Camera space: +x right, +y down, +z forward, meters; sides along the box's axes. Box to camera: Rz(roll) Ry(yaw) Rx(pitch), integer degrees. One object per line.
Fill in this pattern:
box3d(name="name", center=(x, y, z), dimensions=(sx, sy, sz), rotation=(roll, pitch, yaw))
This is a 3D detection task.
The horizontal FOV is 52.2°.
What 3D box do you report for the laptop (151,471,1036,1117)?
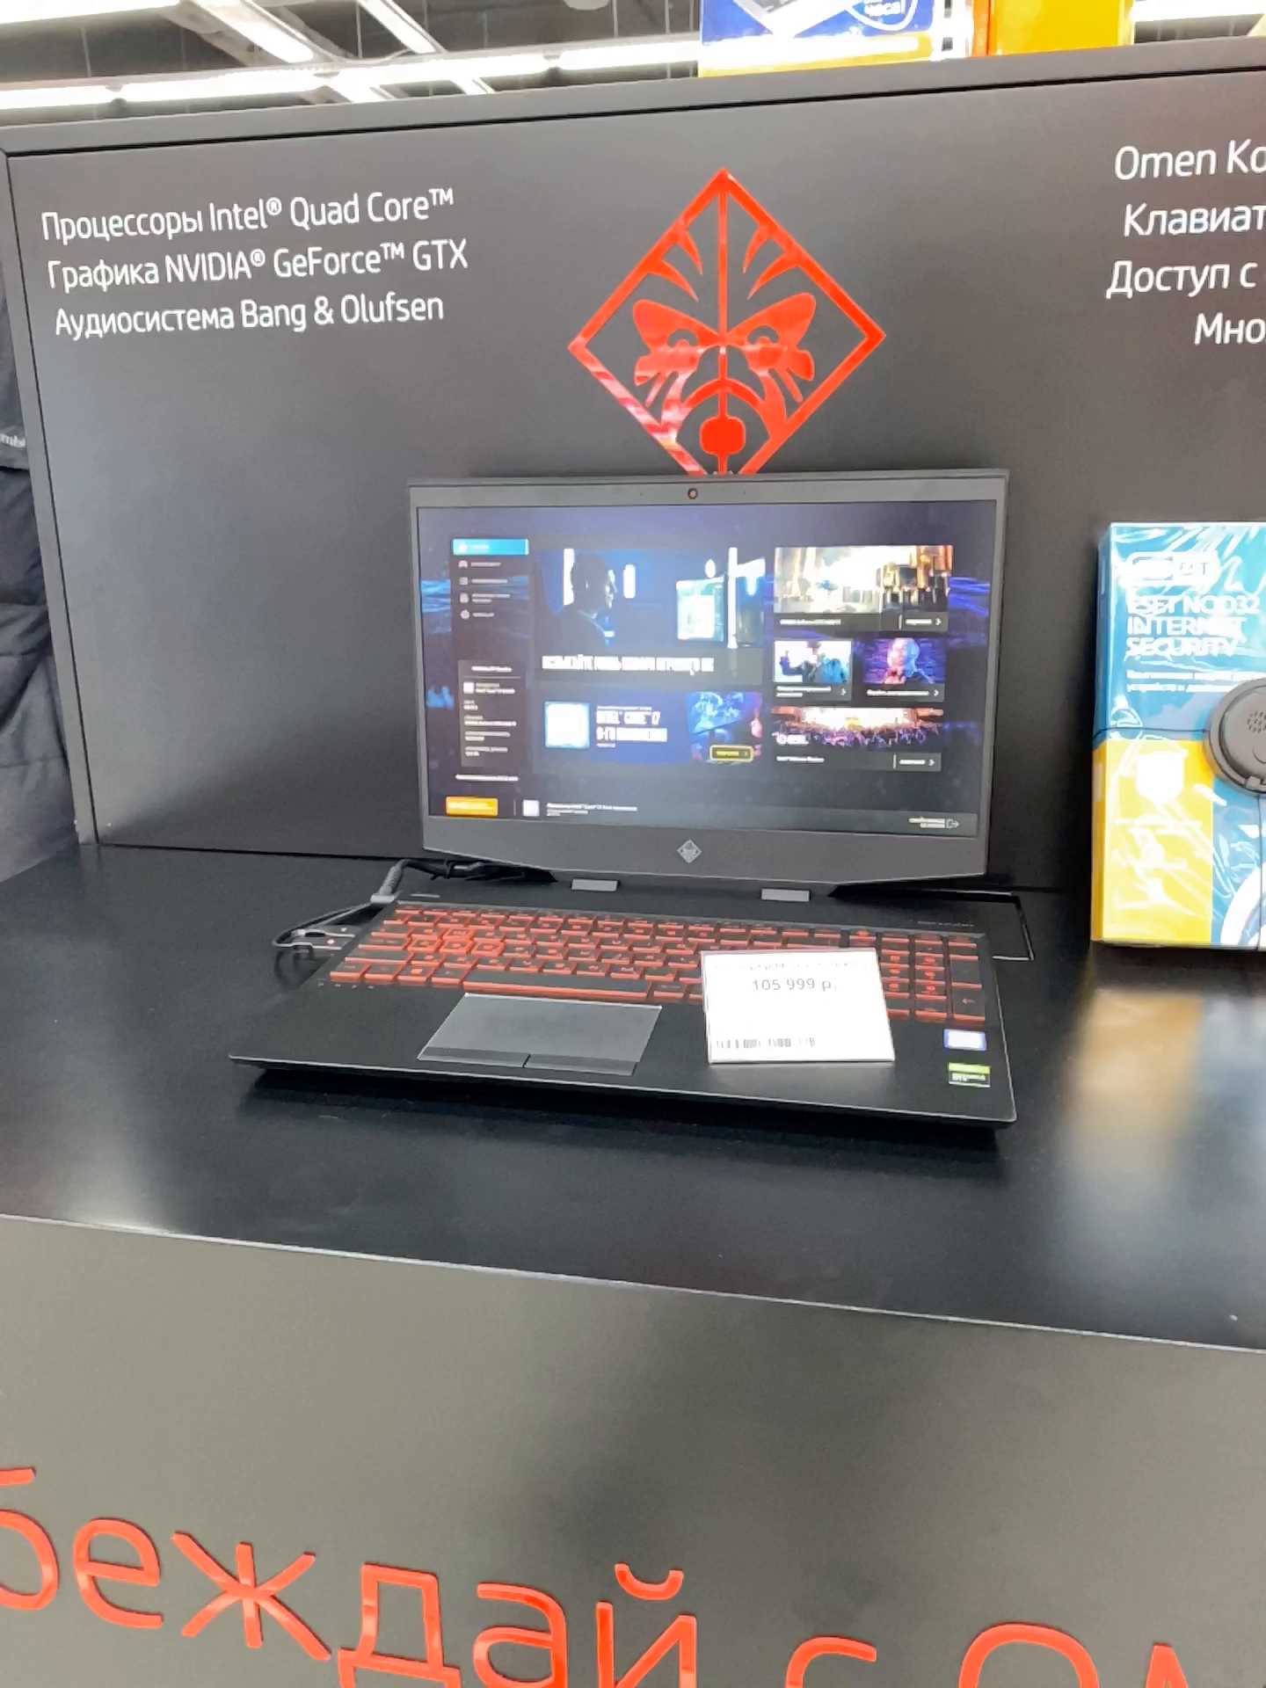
box3d(name="laptop", center=(0.001, -0.060, 0.683), dimensions=(0.358, 0.247, 0.302), rotation=(2, 17, 11))
